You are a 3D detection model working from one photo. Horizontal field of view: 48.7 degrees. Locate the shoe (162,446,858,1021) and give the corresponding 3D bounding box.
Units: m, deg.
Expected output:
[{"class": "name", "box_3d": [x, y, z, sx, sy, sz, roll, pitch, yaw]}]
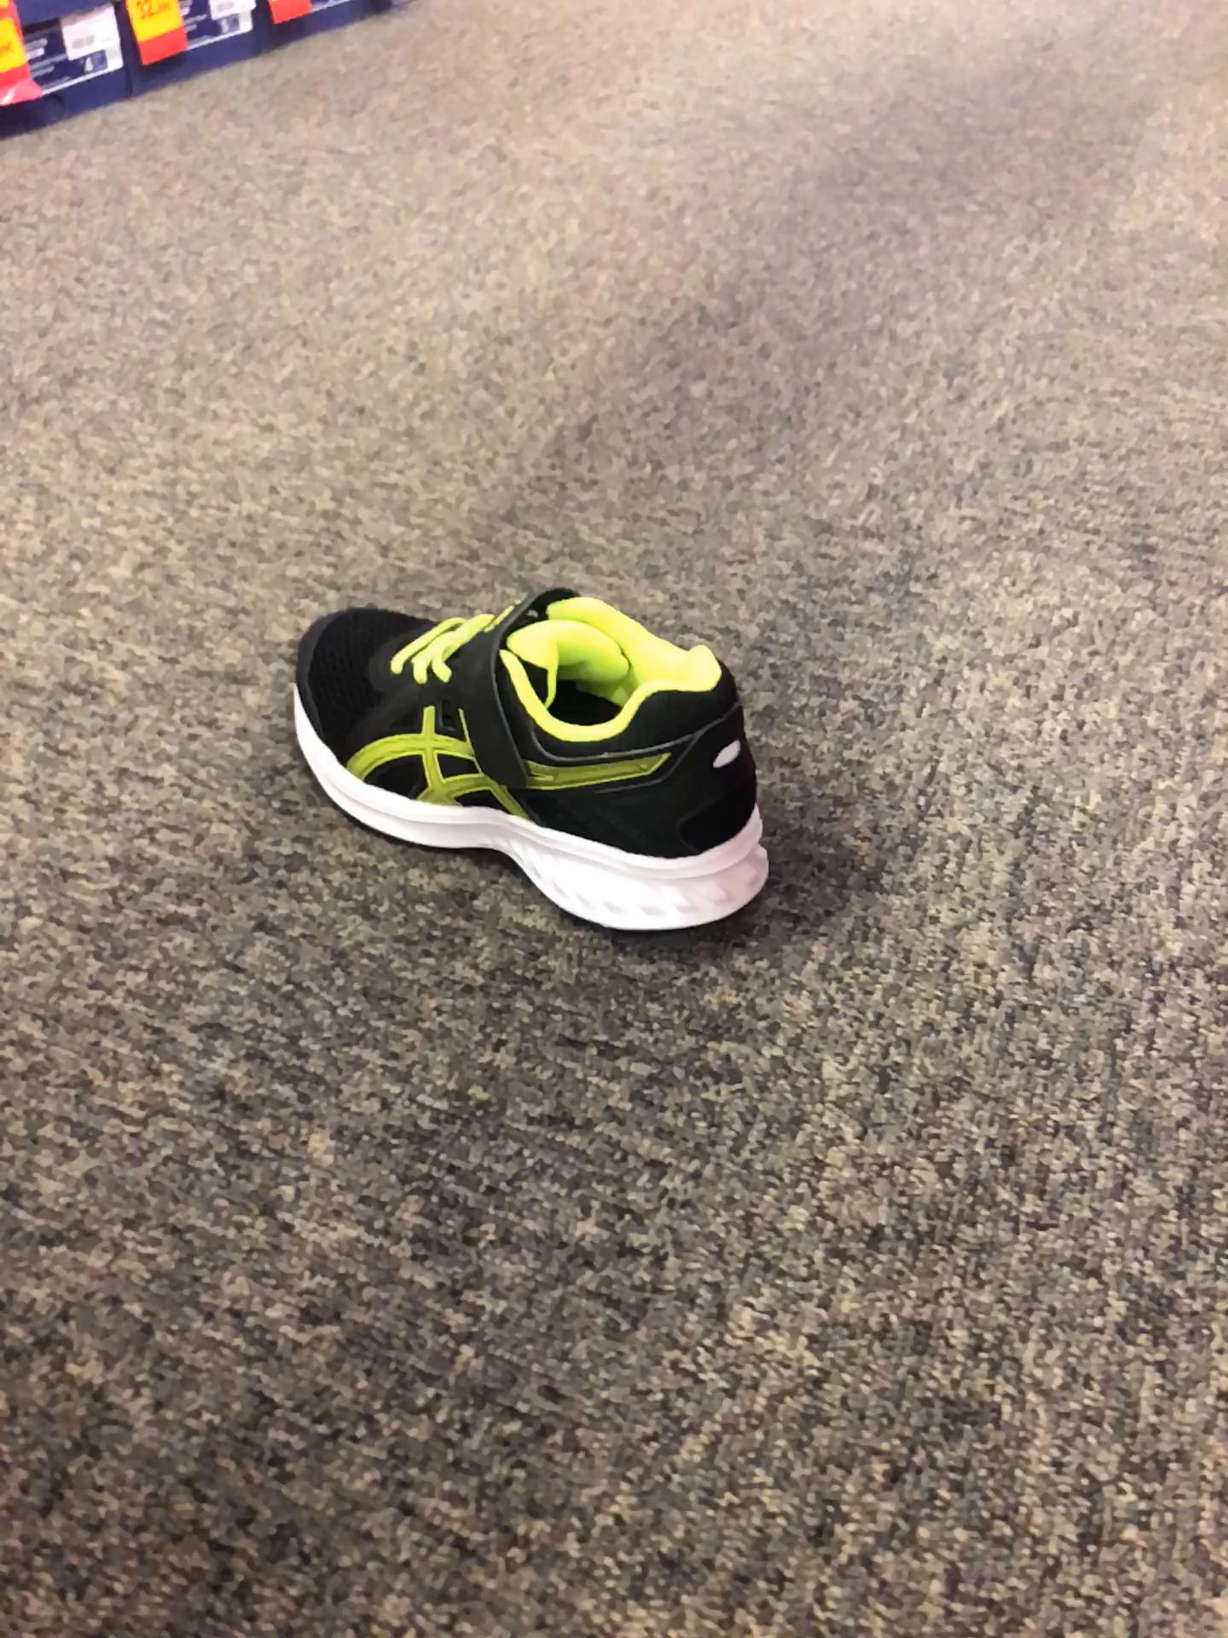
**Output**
[{"class": "shoe", "box_3d": [-0.037, -0.037, 0.437, 0.200, 0.080, 0.091, 28, 47, 26]}]
